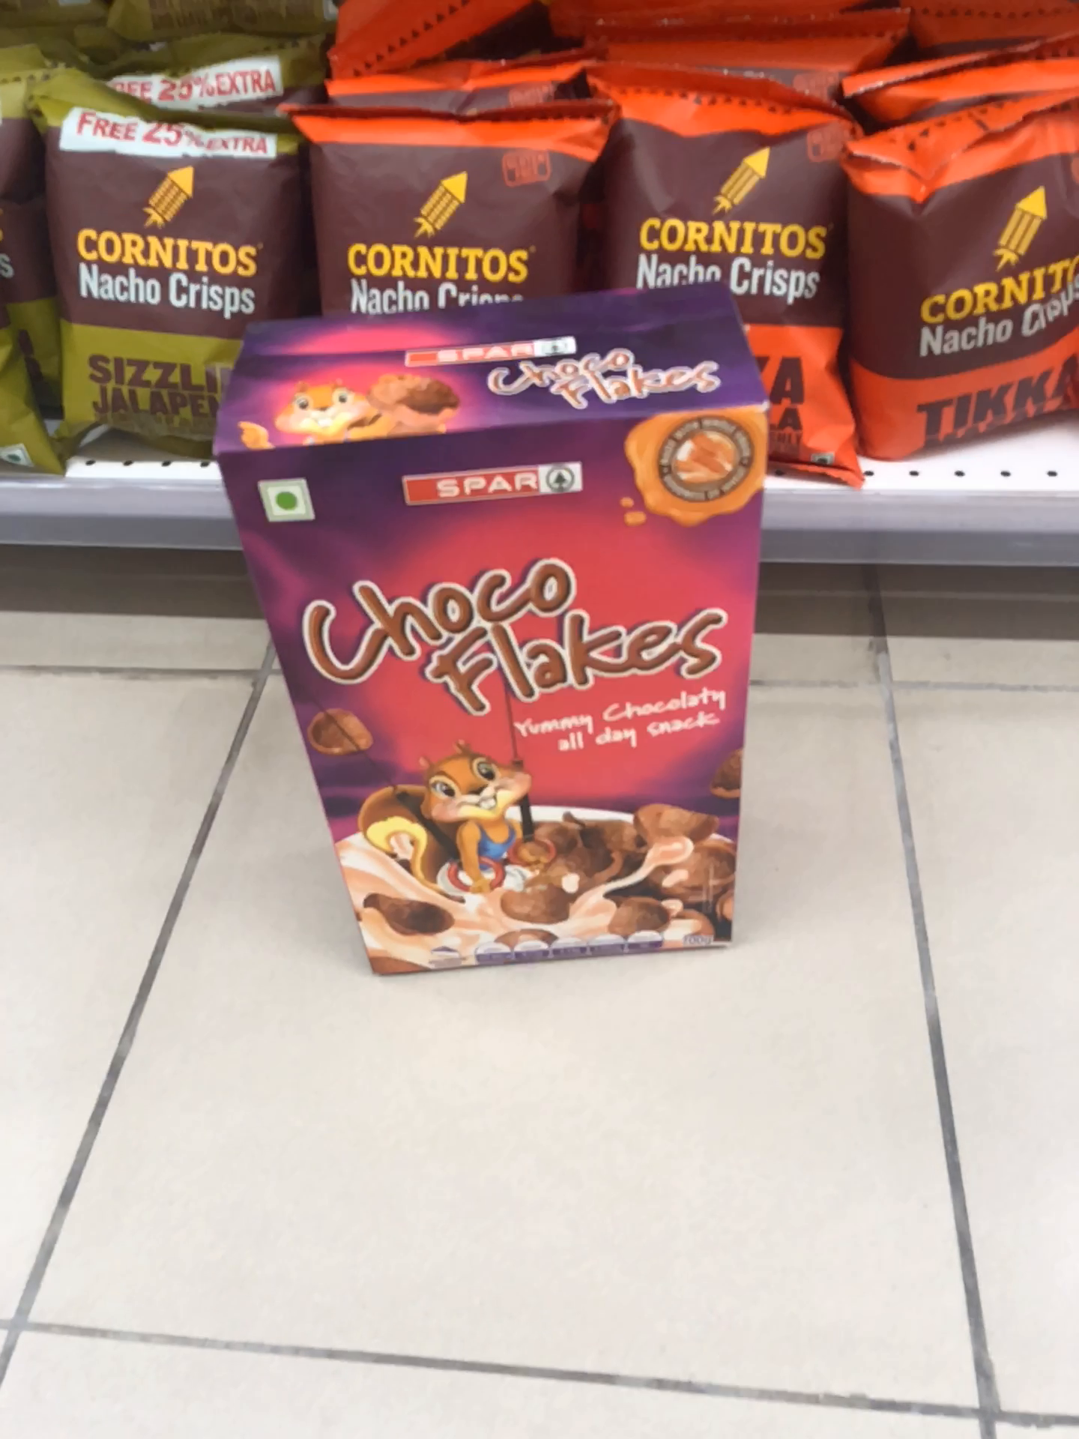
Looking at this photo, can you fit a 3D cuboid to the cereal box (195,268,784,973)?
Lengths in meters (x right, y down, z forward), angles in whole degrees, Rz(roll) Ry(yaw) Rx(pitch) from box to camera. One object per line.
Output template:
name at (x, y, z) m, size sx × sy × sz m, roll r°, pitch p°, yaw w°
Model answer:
cereal box at (-0.008, -0.019, 0.555) m, size 0.200 × 0.339 × 0.090 m, roll -5°, pitch 47°, yaw 1°
